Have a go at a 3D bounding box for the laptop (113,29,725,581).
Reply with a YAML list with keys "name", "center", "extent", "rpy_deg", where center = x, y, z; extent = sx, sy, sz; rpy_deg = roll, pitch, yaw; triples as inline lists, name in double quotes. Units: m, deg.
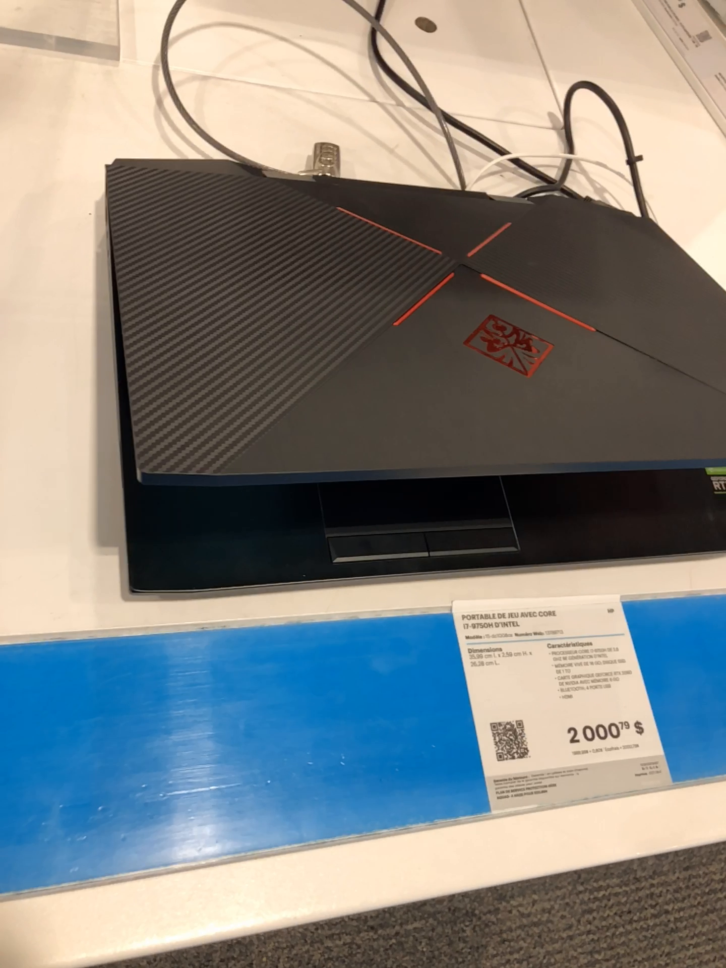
- name: "laptop"
  center: [0.061, -0.085, 0.409]
  extent: [0.346, 0.085, 0.235]
  rpy_deg: [-1, 64, -19]
